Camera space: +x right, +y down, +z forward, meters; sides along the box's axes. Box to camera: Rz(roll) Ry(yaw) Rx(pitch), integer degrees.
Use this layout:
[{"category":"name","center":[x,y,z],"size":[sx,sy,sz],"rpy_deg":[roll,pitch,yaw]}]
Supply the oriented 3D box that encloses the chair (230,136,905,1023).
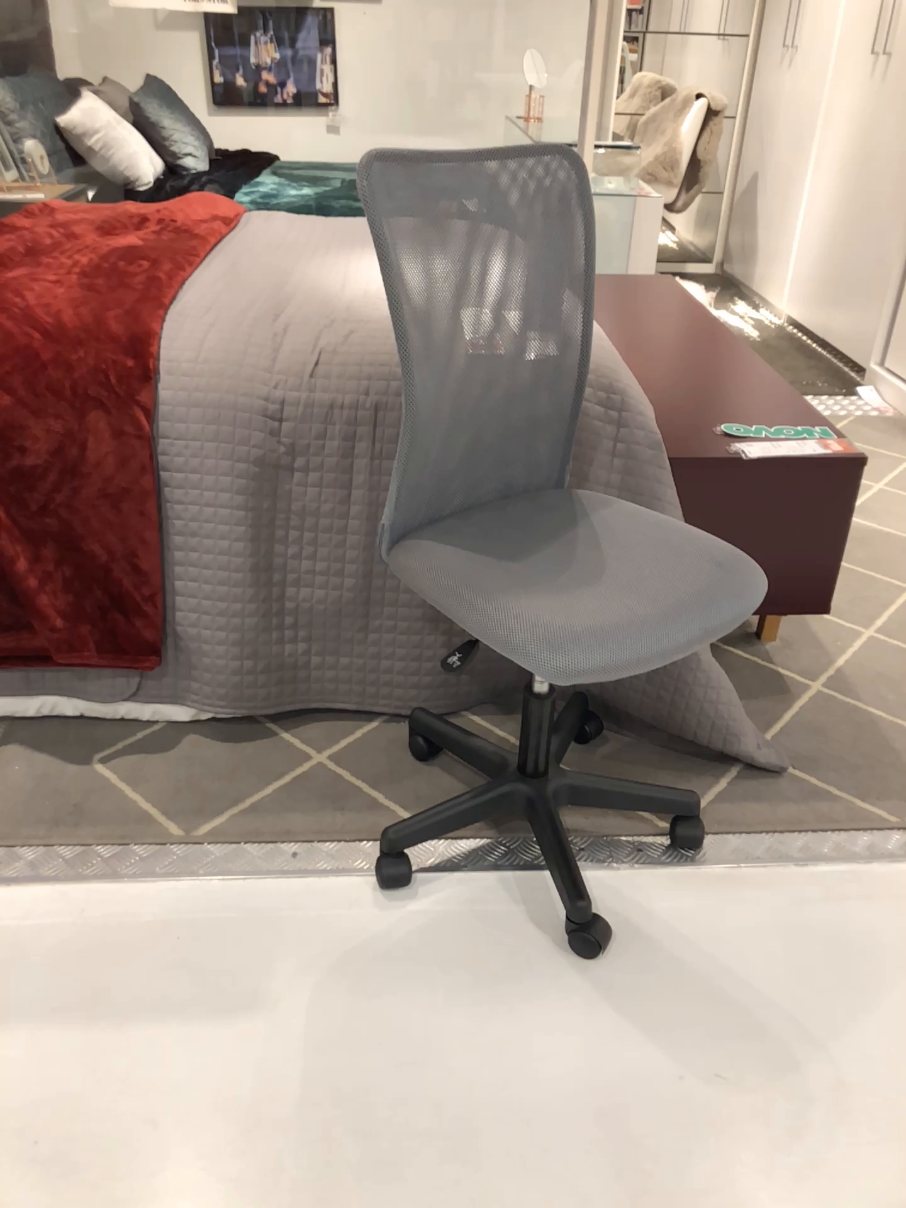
[{"category":"chair","center":[0.111,-0.095,1.382],"size":[0.562,0.943,0.643],"rpy_deg":[-16,34,-28]}]
